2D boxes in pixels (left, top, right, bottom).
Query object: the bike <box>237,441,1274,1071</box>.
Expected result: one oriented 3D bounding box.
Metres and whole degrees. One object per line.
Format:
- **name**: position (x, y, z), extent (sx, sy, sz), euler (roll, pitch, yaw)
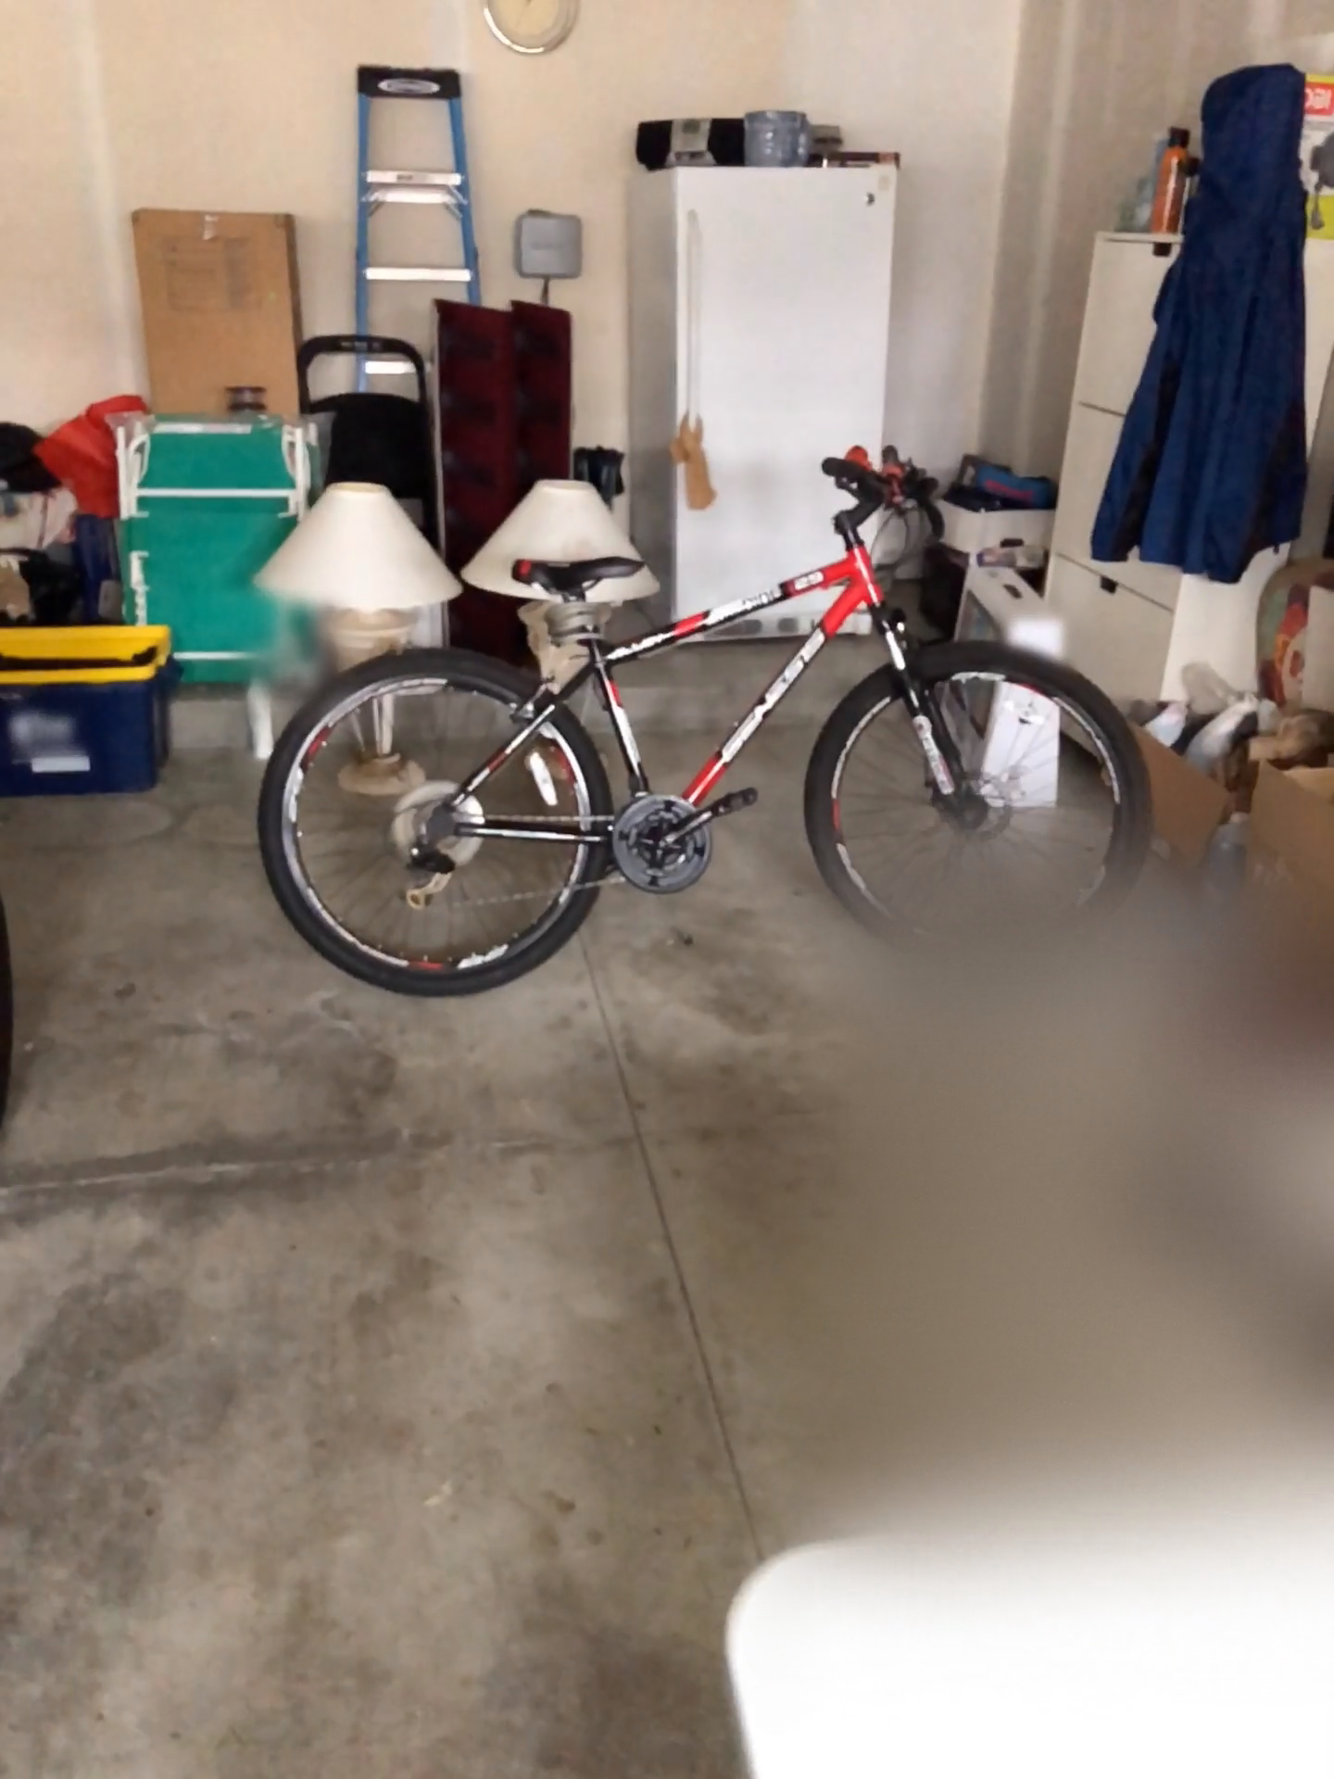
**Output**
- **bike**: position (0.073, -0.269, 2.836), extent (1.668, 1.054, 0.592), euler (0, 23, -2)
